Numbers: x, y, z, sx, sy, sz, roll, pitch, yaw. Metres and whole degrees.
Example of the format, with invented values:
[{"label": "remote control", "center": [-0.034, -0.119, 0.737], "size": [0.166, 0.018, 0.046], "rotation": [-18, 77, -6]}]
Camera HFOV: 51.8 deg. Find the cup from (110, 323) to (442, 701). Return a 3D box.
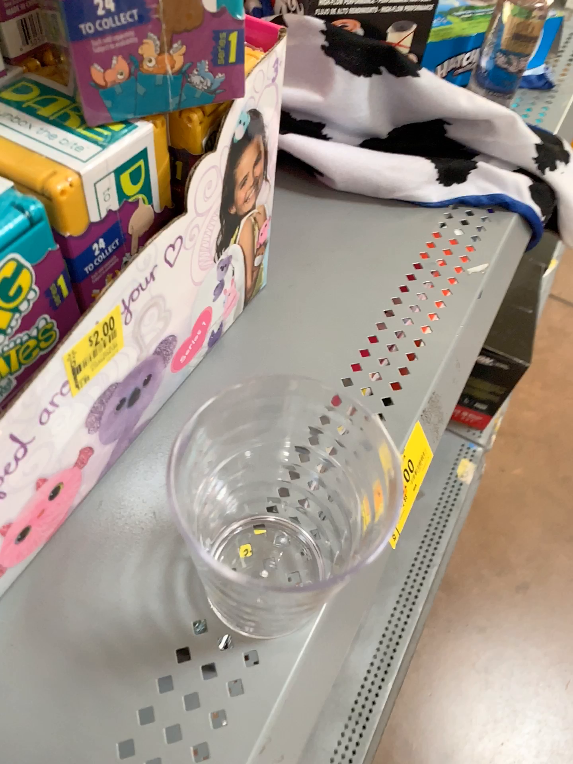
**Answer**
[{"label": "cup", "center": [-0.004, 0.053, 0.219], "size": [0.070, 0.107, 0.079], "rotation": [26, 56, 11]}]
